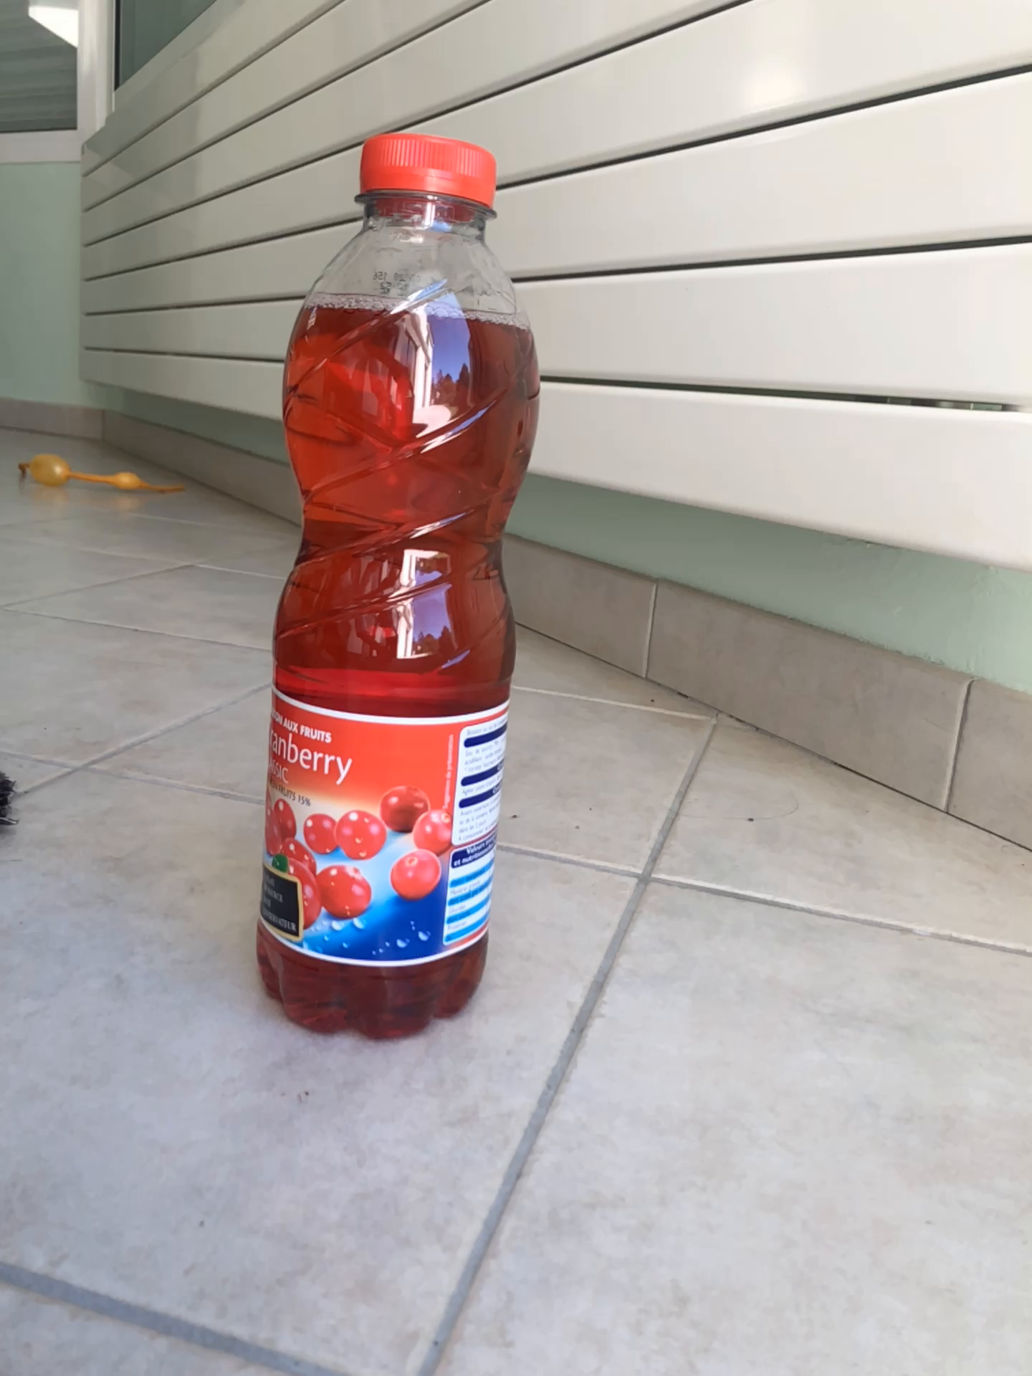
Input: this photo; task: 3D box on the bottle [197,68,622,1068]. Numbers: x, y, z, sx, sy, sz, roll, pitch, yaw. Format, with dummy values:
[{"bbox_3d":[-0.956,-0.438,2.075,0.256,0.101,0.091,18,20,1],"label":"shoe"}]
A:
[{"bbox_3d":[-0.041,-0.032,0.350,0.080,0.259,0.090,-5,16,-36],"label":"bottle"}]
